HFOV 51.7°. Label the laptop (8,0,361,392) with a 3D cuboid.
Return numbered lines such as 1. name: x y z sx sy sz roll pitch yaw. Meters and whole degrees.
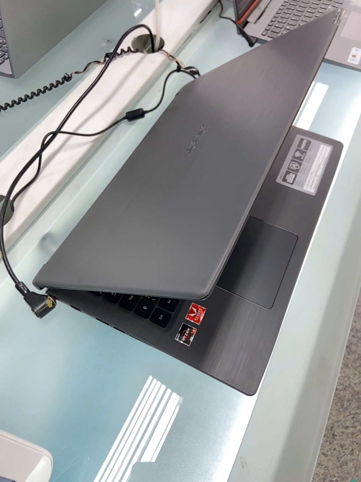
1. laptop: 0.056 -0.076 0.380 0.220 0.155 0.344 23 60 12
